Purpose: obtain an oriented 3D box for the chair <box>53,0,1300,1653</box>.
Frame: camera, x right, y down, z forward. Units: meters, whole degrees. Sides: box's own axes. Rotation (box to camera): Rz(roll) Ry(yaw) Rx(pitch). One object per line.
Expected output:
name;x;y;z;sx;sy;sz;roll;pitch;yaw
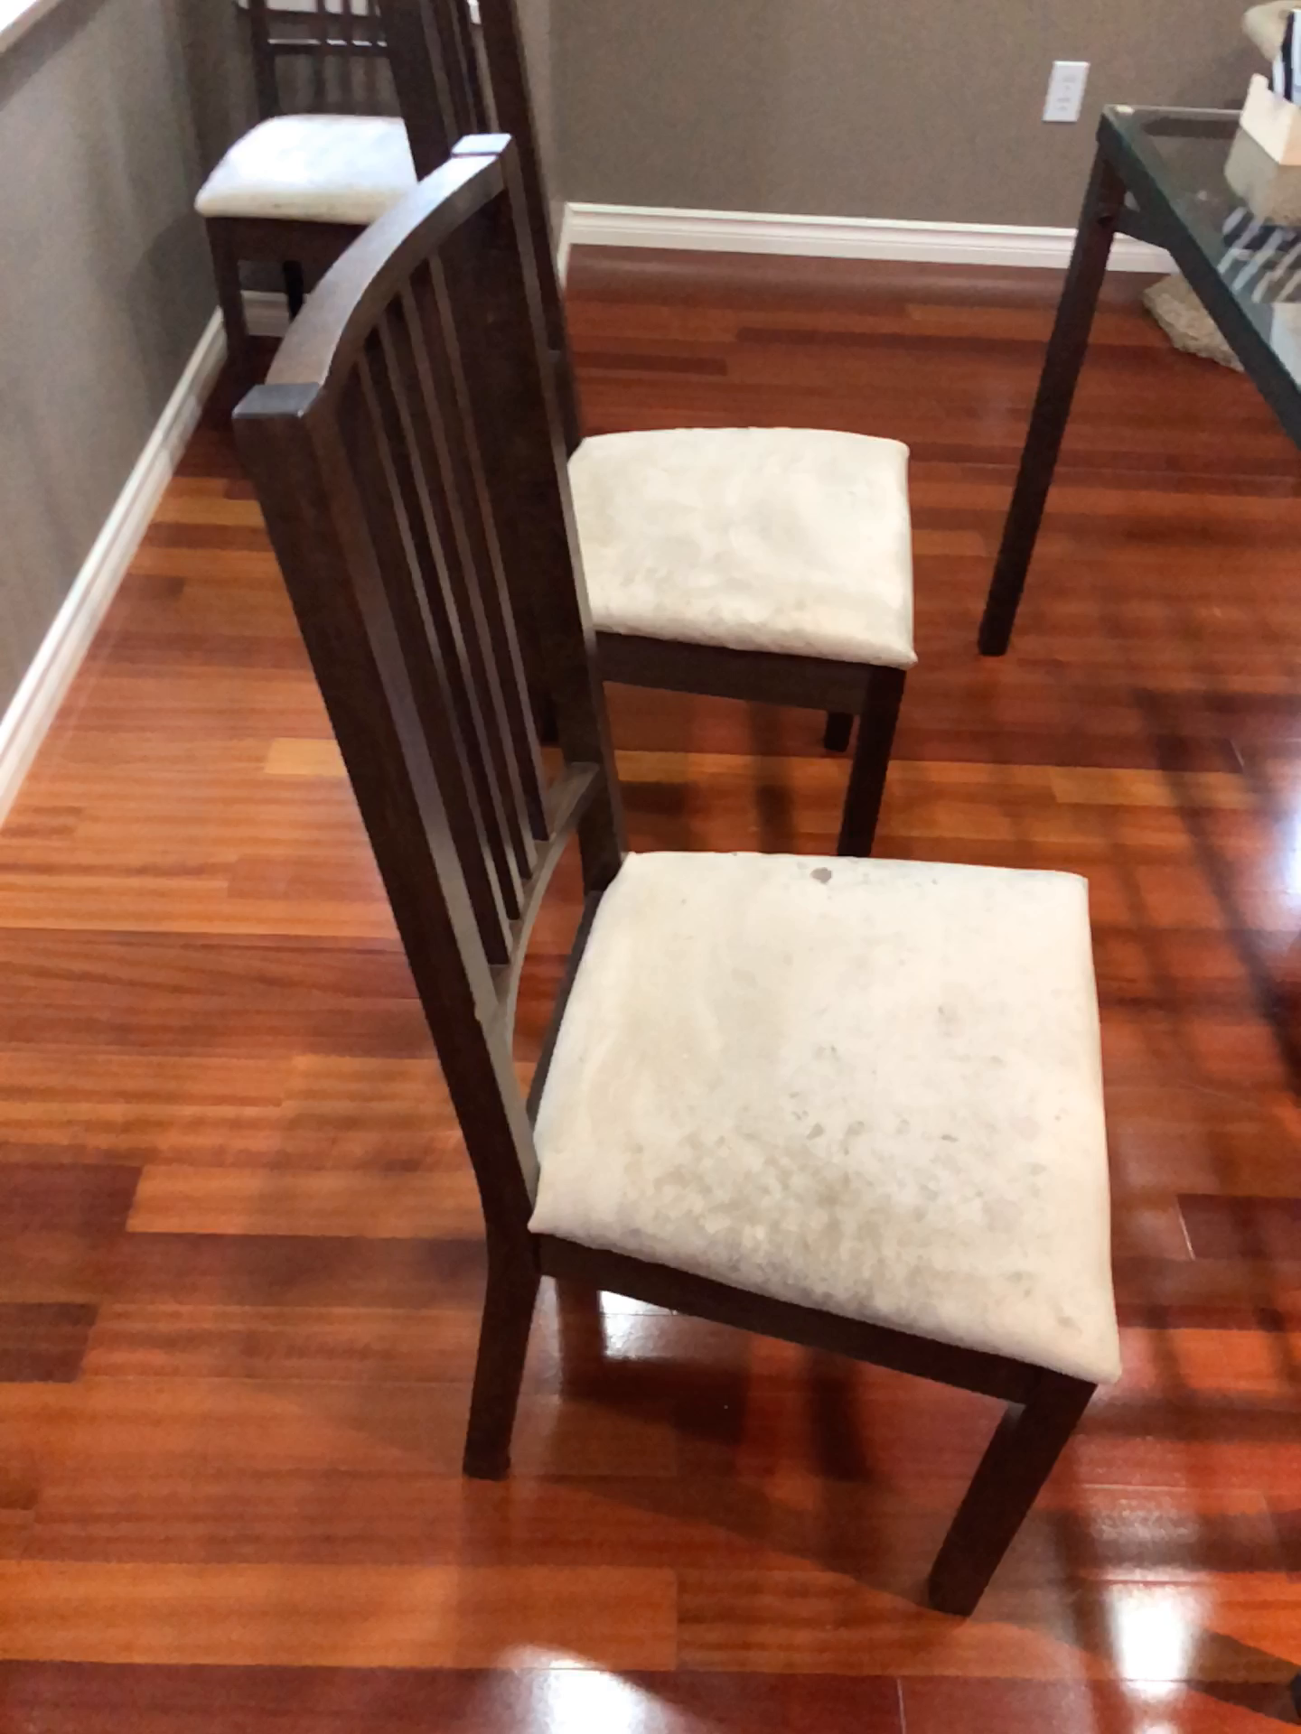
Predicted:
chair;0.085;0.034;1.007;0.540;0.993;0.594;6;44;3
